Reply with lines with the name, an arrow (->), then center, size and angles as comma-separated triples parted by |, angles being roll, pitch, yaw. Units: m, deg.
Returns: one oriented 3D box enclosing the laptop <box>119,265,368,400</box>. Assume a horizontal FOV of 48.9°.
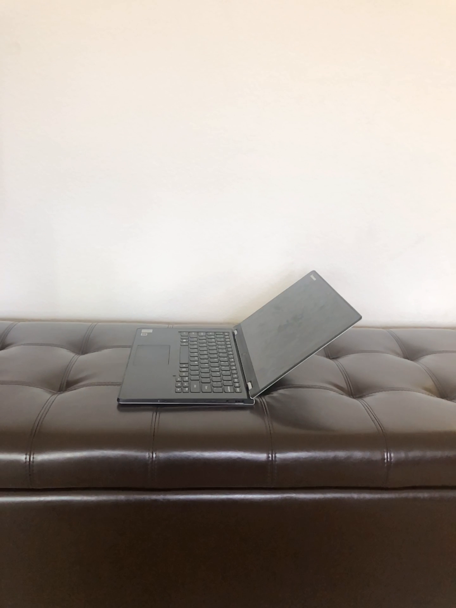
laptop -> 0.009, 0.028, 0.774 | 0.317, 0.115, 0.262 | -1, 17, -5
